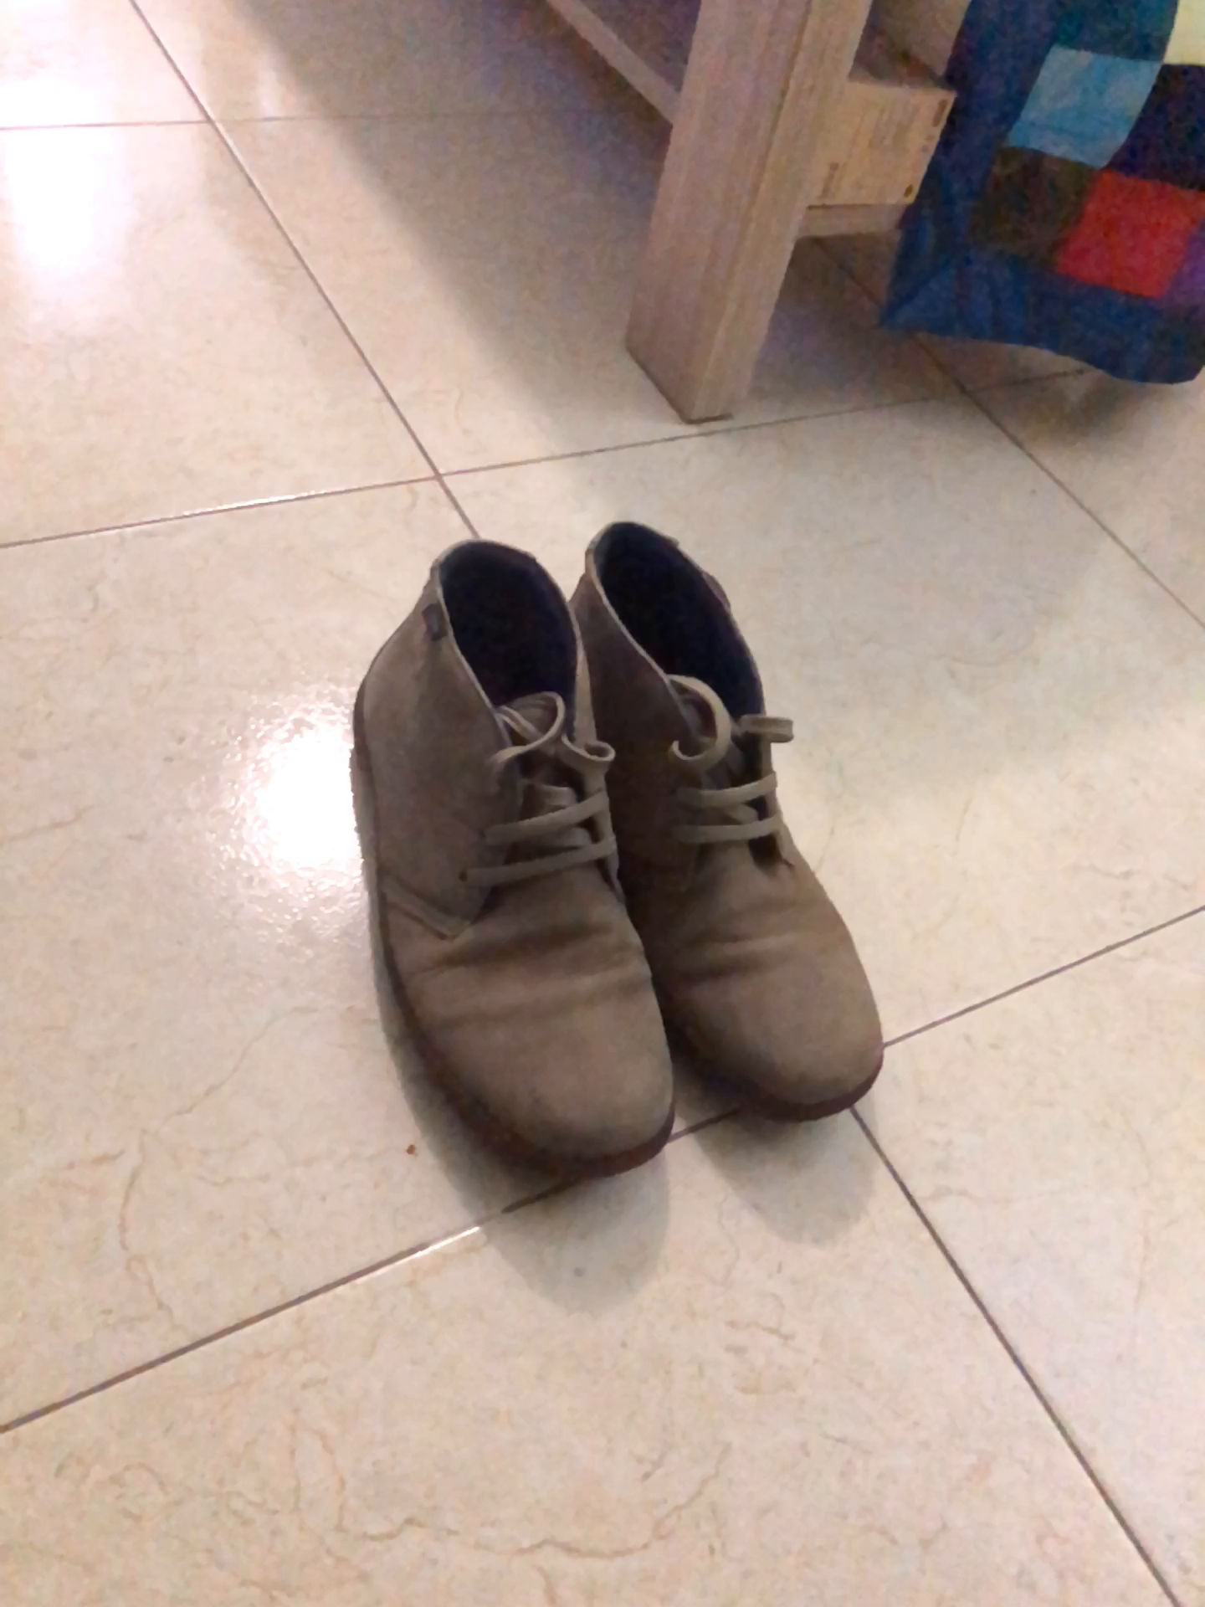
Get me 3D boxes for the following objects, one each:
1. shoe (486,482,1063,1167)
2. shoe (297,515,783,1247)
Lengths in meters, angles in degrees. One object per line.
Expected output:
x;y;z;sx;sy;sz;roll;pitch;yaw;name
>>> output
0.057;-0.004;0.604;0.120;0.120;0.281;-11;54;-22;shoe
-0.045;0.018;0.567;0.110;0.120;0.281;-8;54;-21;shoe
